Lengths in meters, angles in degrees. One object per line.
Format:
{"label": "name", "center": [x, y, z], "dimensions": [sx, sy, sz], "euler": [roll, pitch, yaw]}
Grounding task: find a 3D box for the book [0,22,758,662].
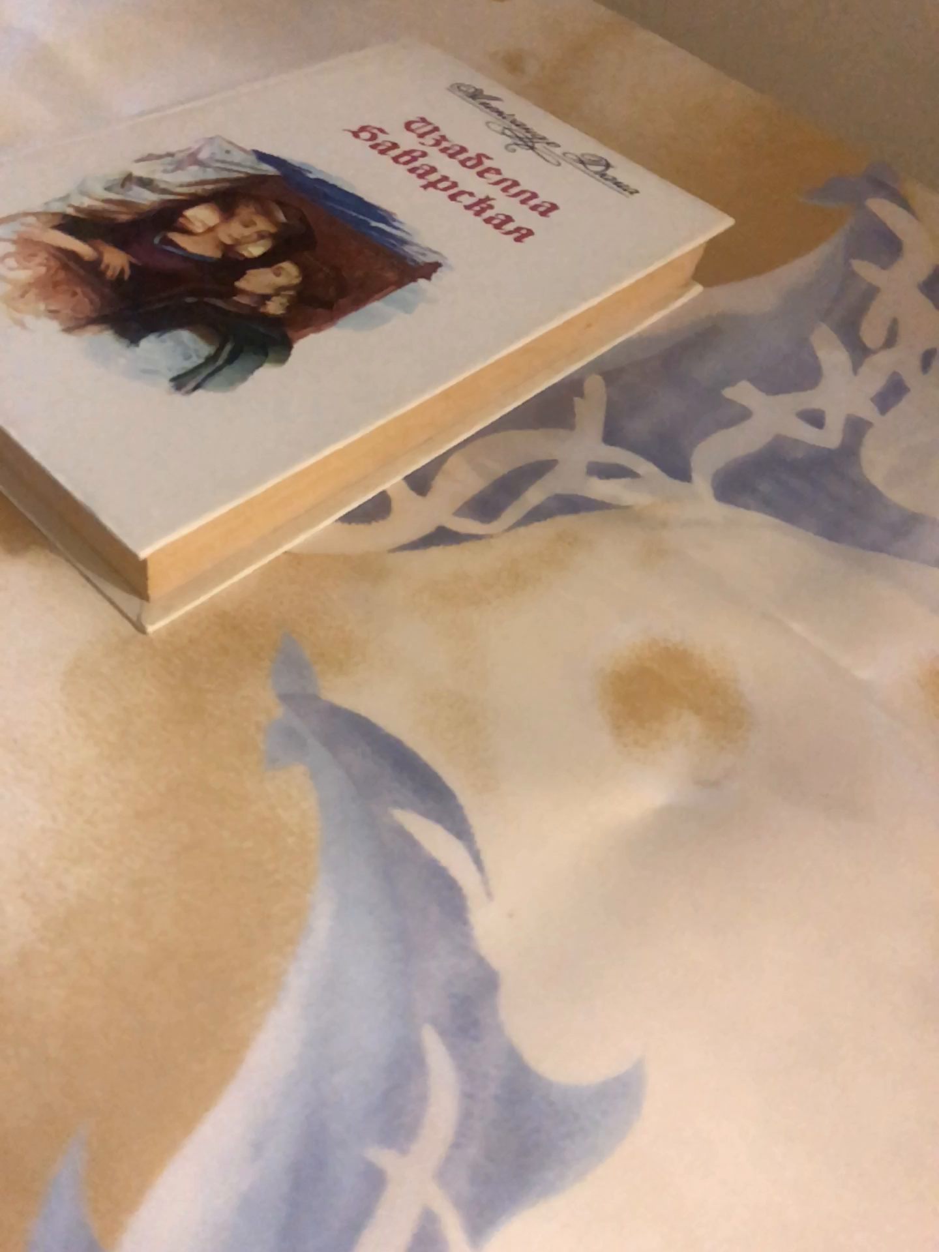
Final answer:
{"label": "book", "center": [-0.040, -0.096, 0.272], "dimensions": [0.139, 0.026, 0.209], "euler": [39, 54, 20]}
